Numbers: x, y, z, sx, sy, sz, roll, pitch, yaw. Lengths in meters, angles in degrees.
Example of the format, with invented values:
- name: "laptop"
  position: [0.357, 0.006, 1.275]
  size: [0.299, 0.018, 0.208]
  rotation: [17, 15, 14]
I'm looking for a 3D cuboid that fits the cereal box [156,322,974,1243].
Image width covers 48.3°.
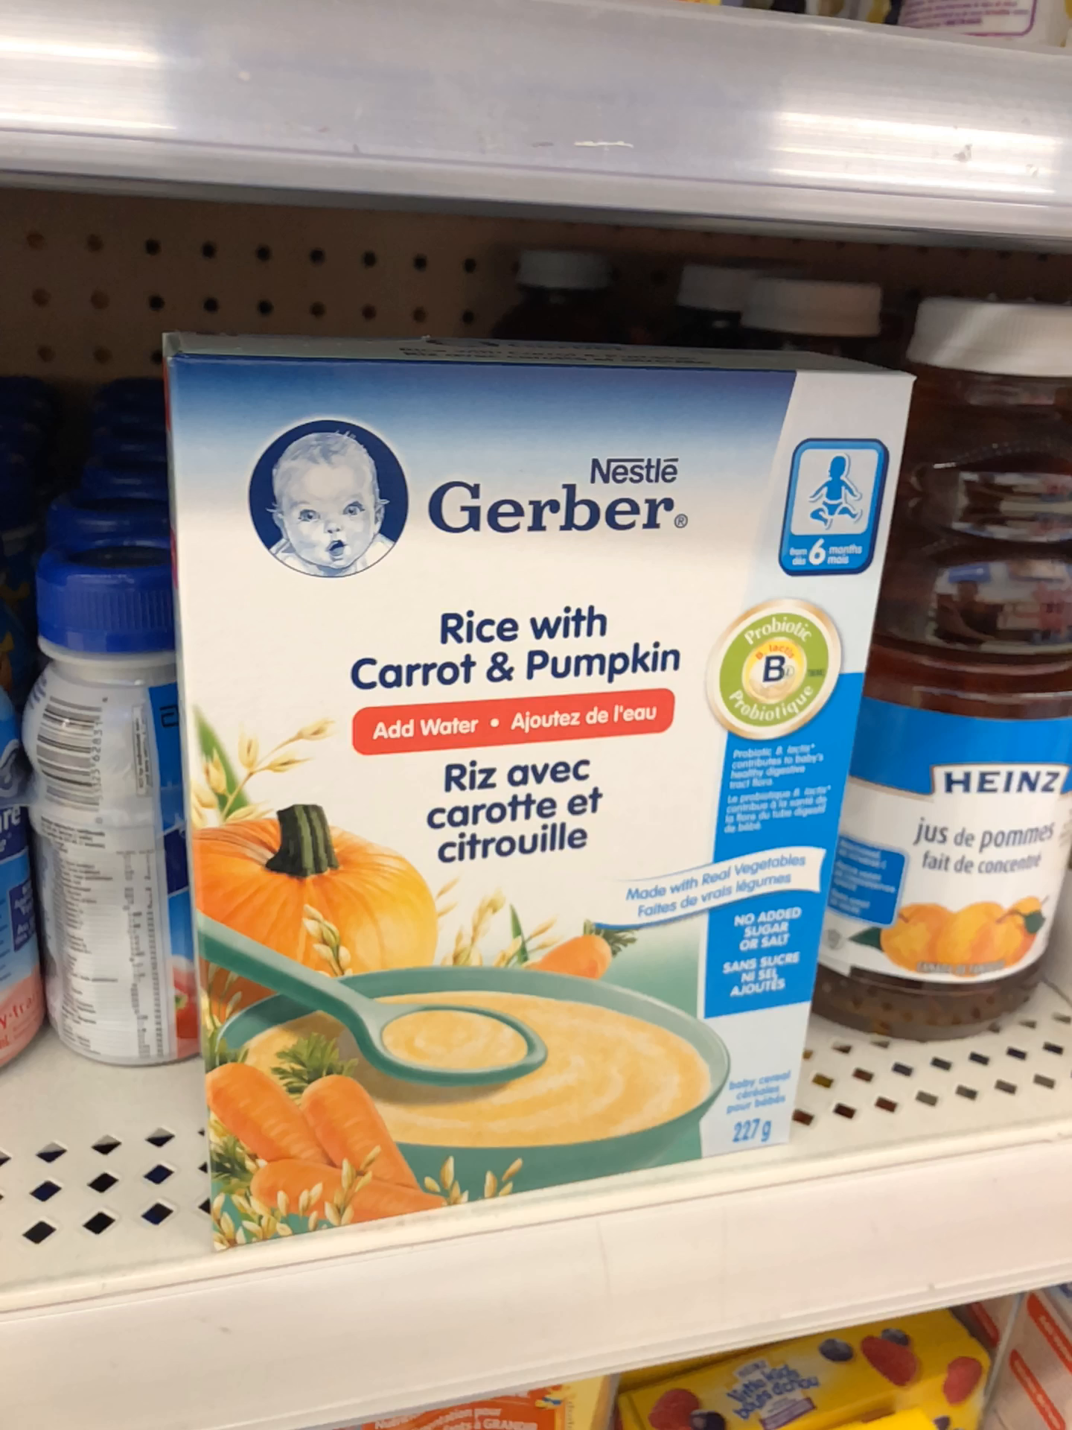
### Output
- name: "cereal box"
  position: [0.000, 0.013, 0.263]
  size: [0.150, 0.179, 0.050]
  rotation: [-3, 23, -19]
